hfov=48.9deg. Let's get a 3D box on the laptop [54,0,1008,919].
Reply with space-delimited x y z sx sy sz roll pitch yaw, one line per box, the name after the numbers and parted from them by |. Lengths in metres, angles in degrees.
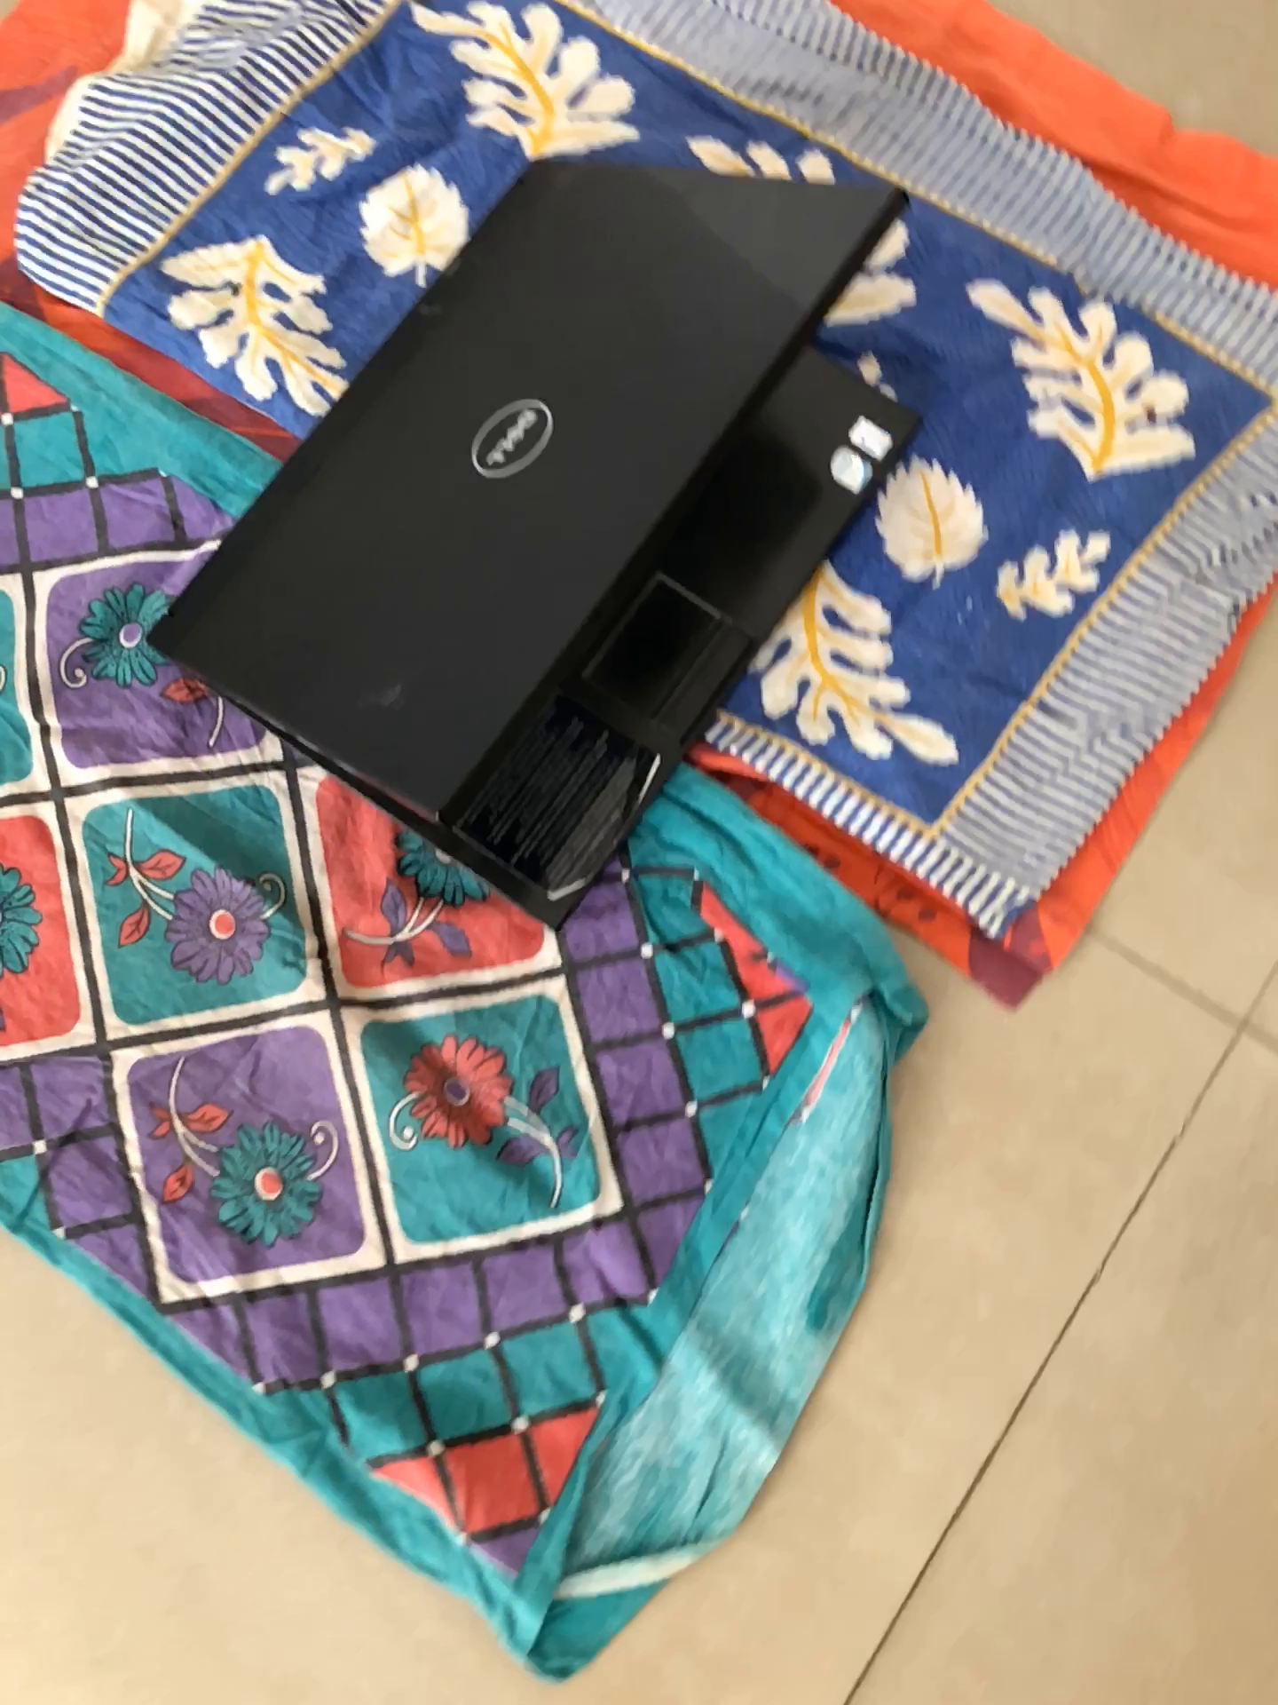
-0.039 -0.166 0.611 0.234 0.144 0.299 34 81 8 | laptop
